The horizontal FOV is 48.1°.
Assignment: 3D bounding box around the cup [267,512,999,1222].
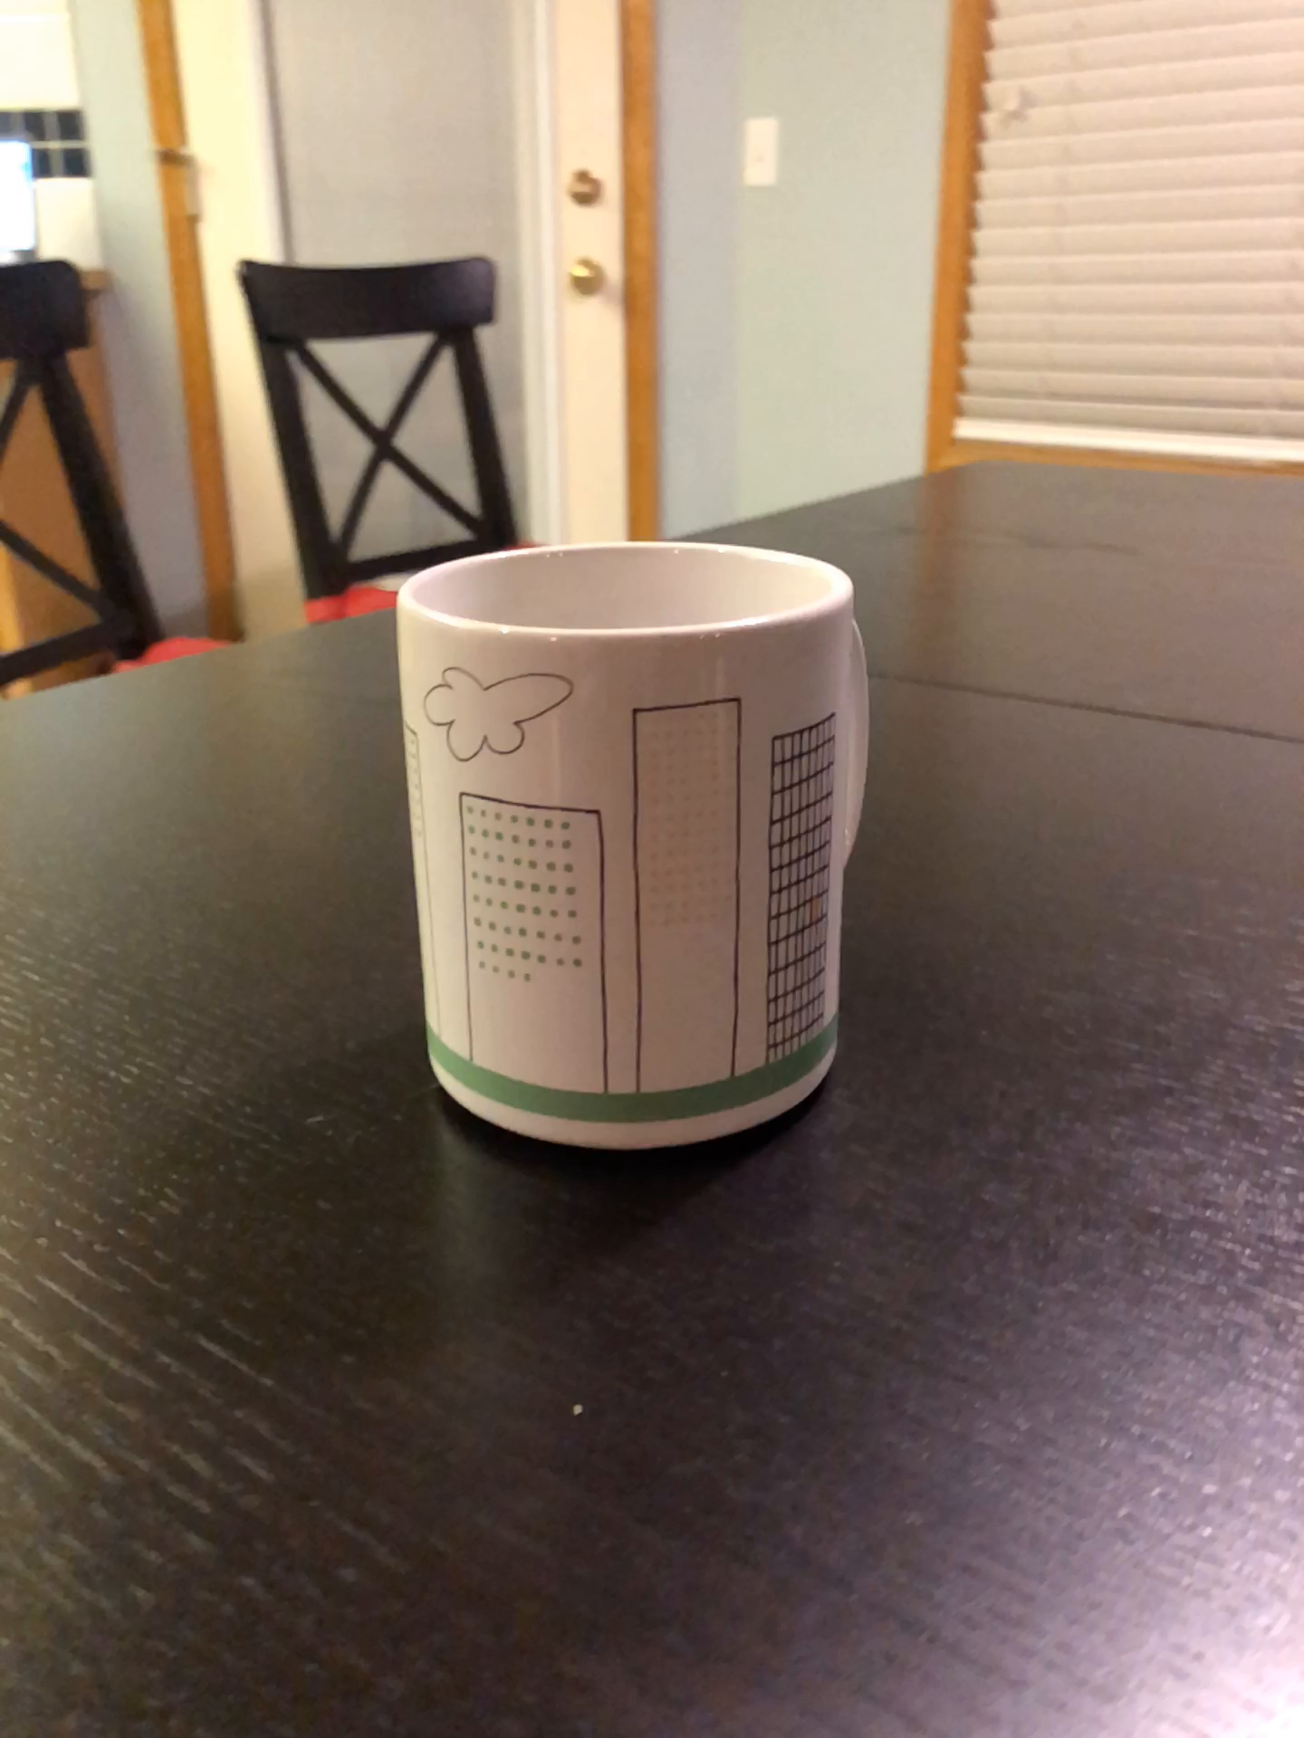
[{"bbox_3d":[0.004,-0.014,0.311,0.090,0.100,0.130,13,25,31],"label":"cup"}]
